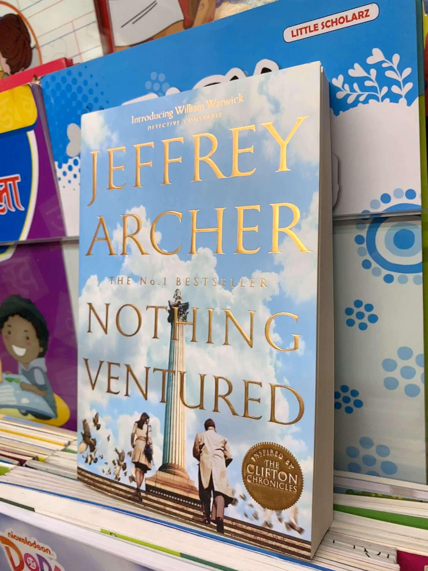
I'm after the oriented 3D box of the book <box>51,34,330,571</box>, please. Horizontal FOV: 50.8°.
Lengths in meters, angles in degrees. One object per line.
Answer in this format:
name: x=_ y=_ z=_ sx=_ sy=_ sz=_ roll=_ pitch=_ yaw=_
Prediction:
book: x=-0.016 y=0.005 z=0.206 sx=0.130 sy=0.190 sz=0.030 roll=0 pitch=-2 yaw=31
